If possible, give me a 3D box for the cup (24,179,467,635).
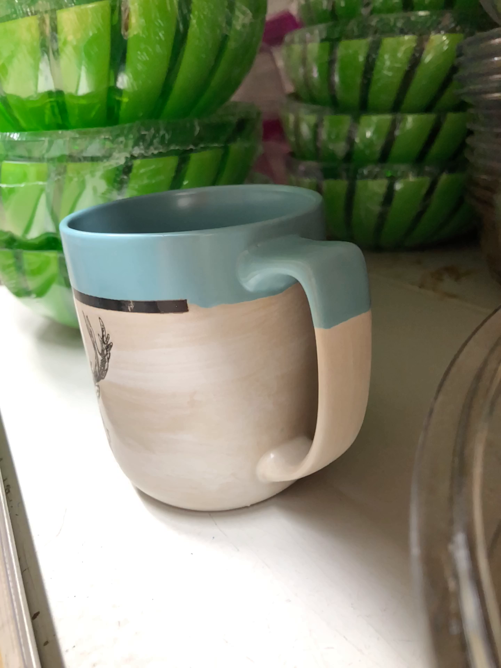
[{"bbox_3d":[-0.006,0.005,0.206,0.093,0.103,0.123,-20,26,-32],"label":"cup"}]
